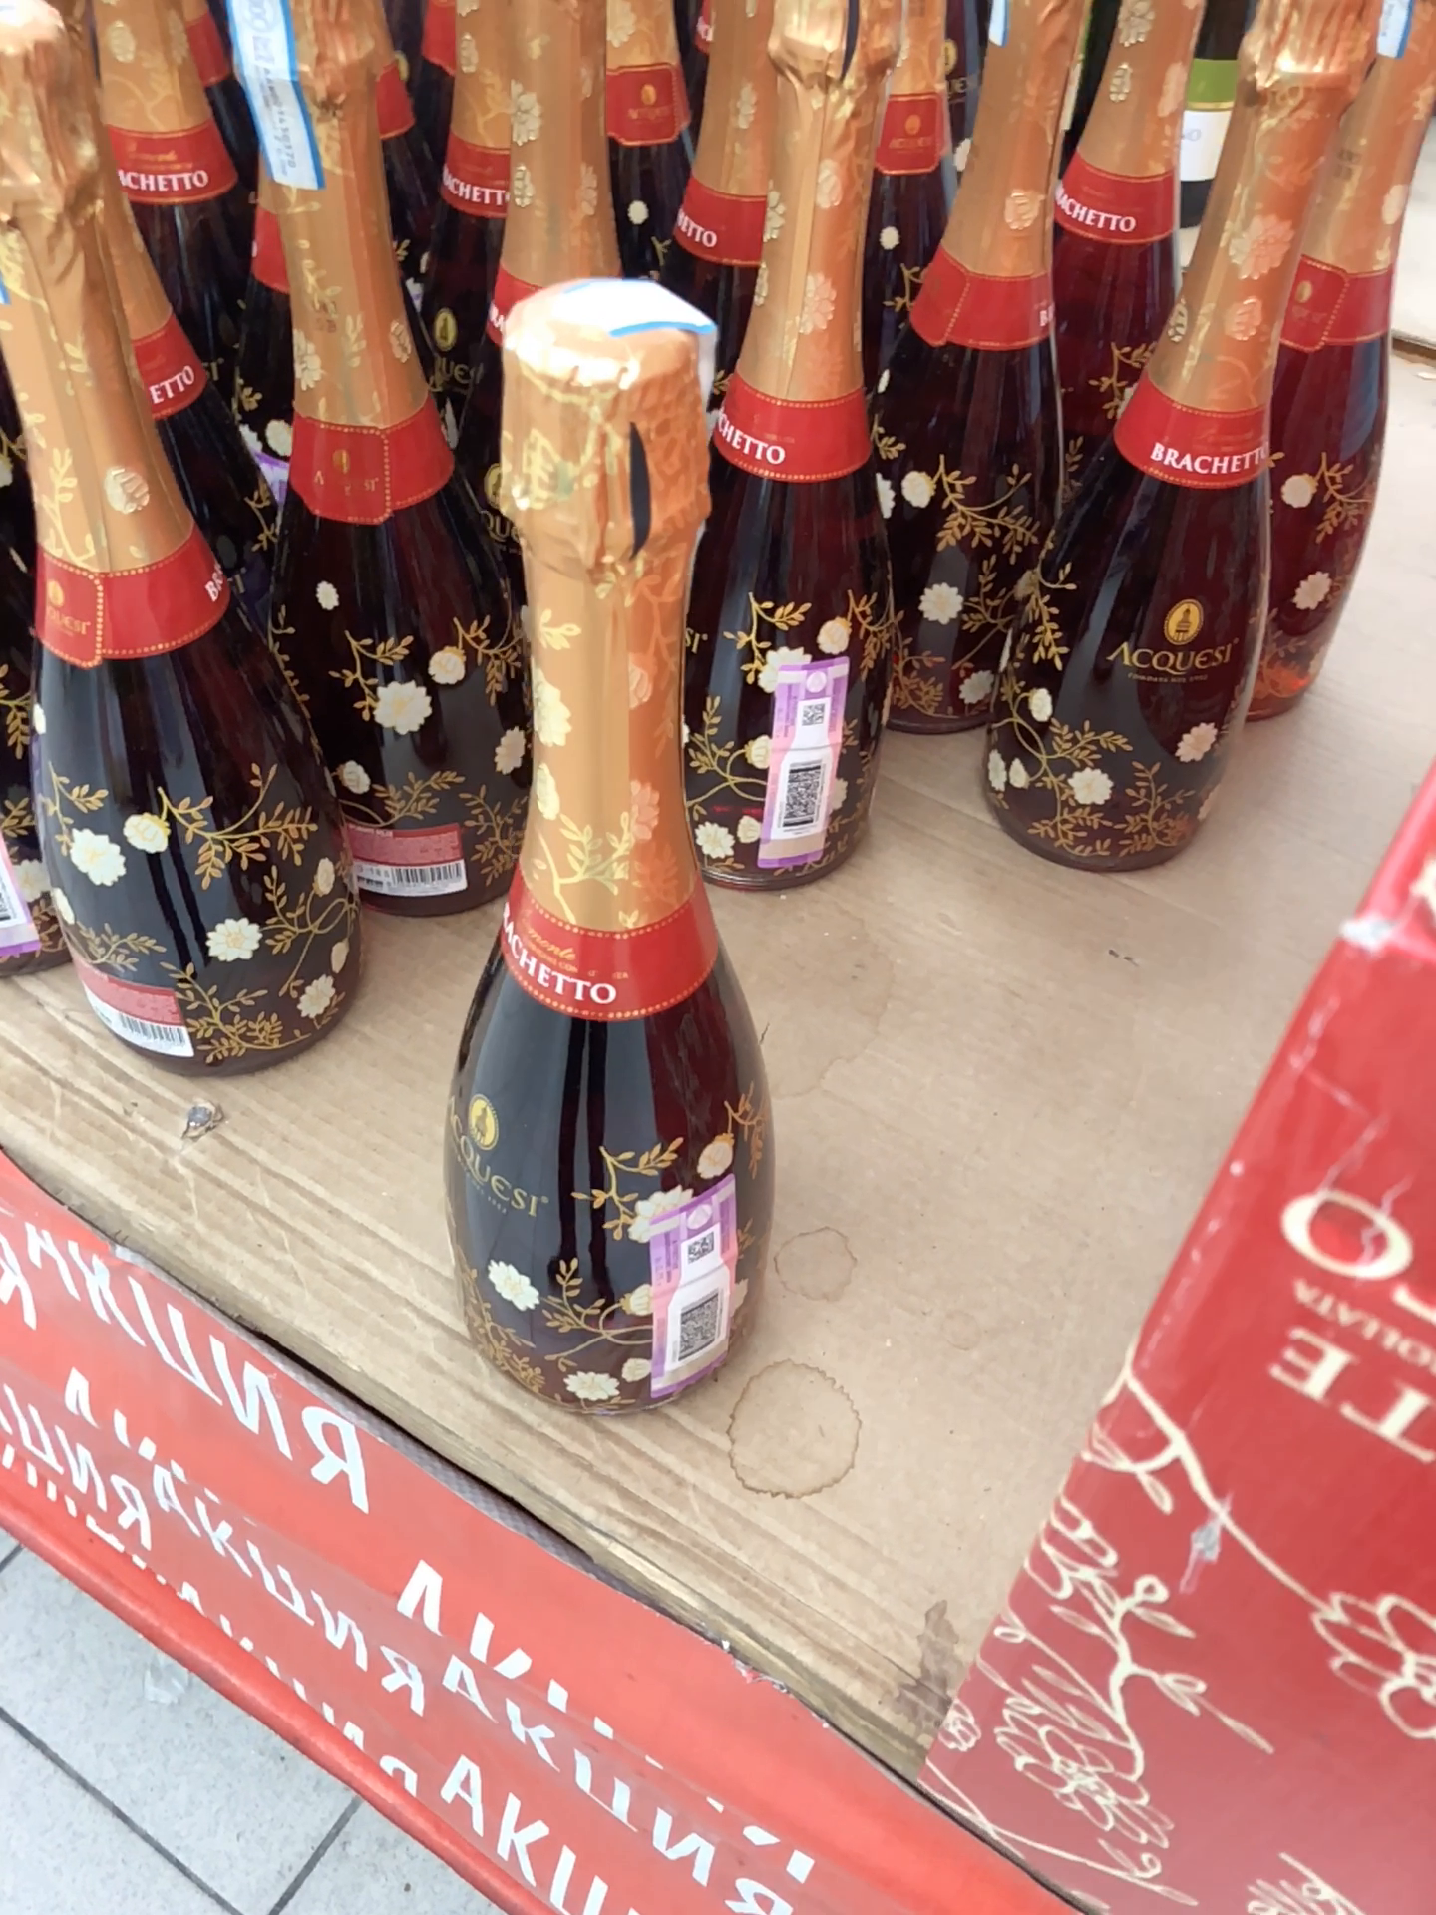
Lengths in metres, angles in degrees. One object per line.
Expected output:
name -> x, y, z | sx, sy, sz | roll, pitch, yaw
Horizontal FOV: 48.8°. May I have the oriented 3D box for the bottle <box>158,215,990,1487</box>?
bottle -> -0.031, -0.002, 0.369 | 0.100, 0.279, 0.100 | 2, 49, -2
